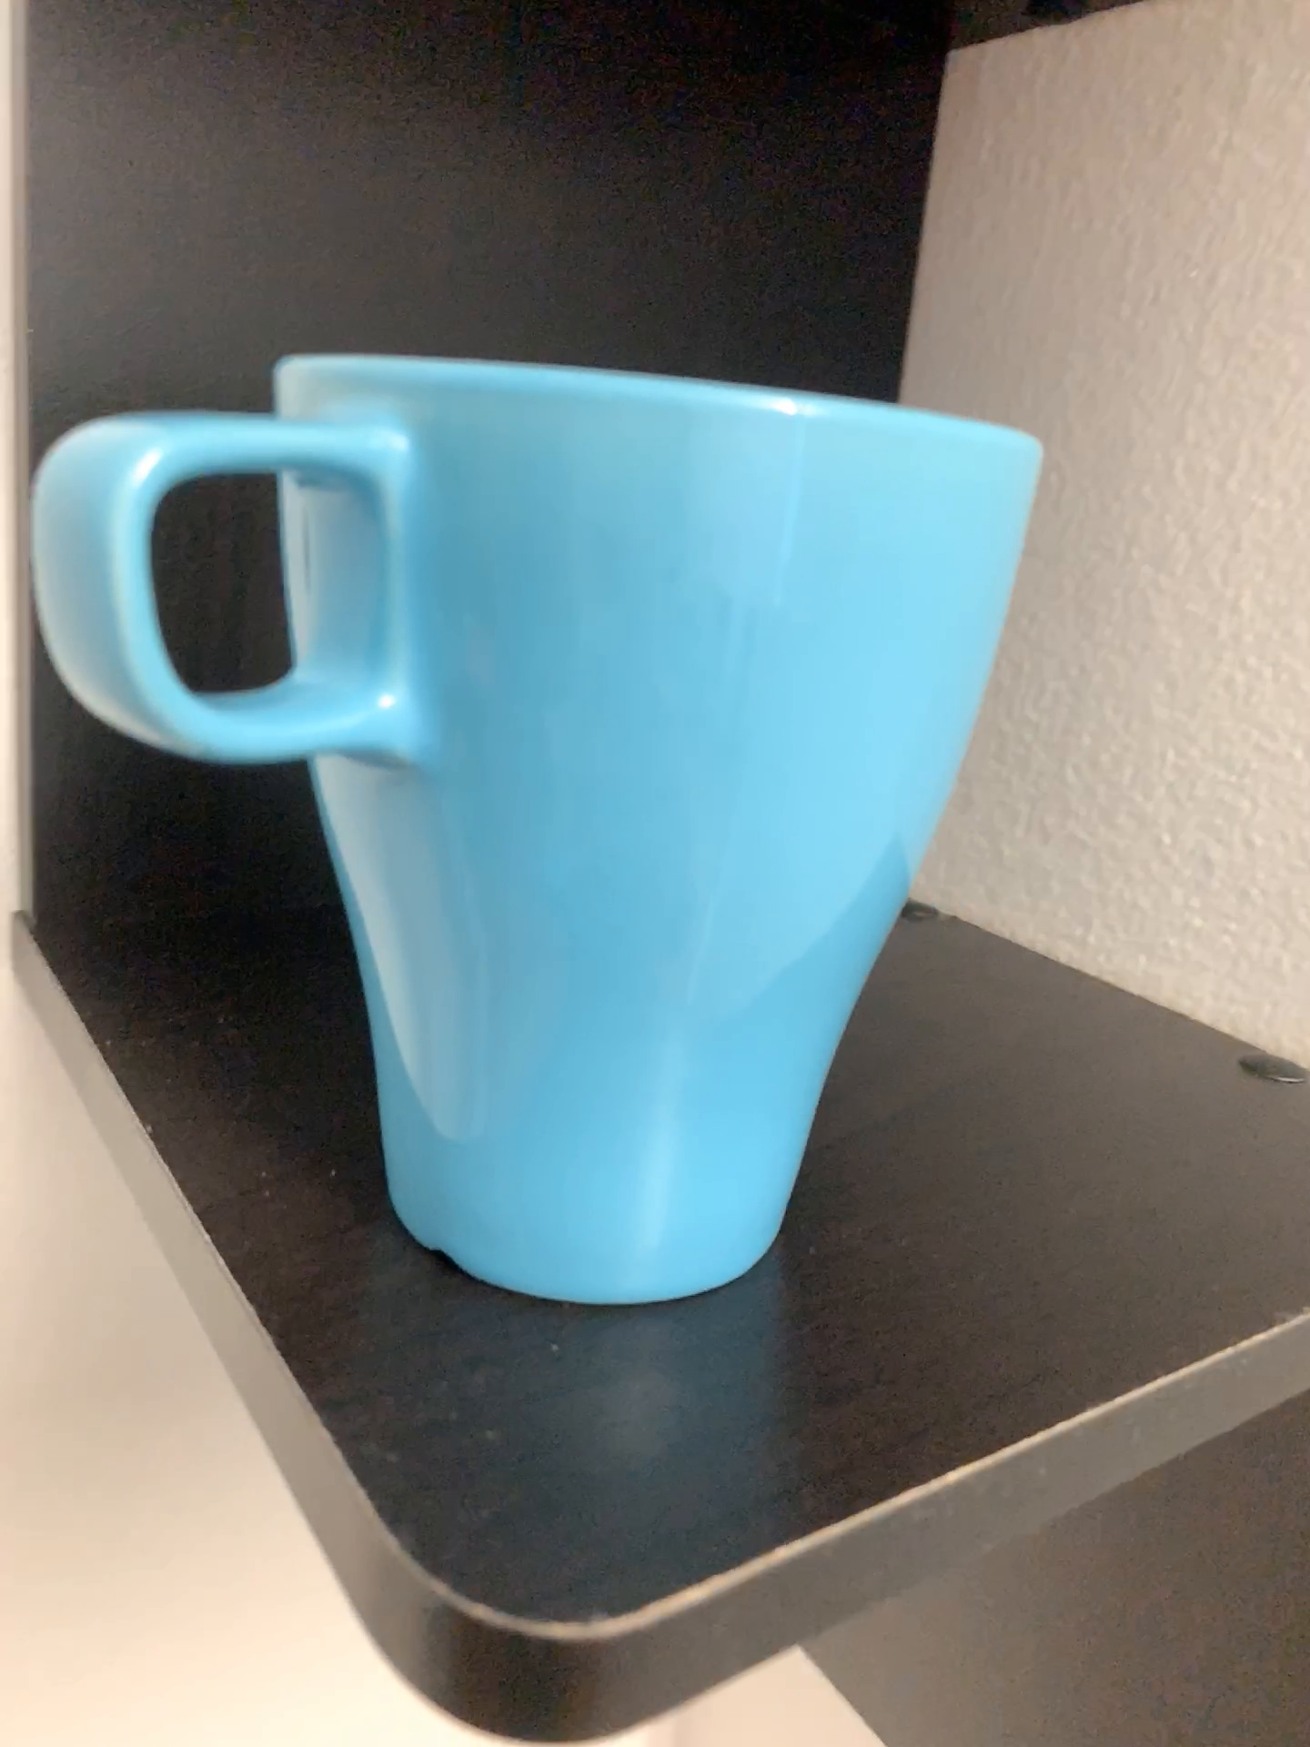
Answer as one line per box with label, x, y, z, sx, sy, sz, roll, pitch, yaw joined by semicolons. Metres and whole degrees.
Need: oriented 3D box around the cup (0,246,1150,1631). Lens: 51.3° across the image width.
cup;-0.011;-0.010;0.153;0.090;0.090;0.110;14;17;28
